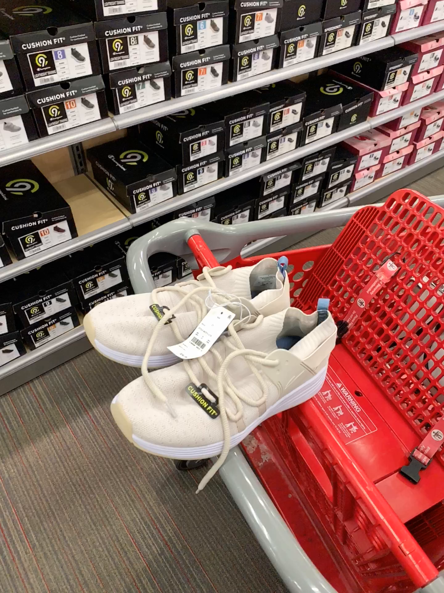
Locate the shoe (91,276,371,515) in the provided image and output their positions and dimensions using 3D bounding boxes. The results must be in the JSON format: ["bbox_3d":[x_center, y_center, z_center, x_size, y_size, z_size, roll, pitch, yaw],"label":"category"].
[{"bbox_3d":[0.016,0.087,0.493,0.280,0.110,0.110,-19,50,-36],"label":"shoe"}]

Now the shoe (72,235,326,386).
[{"bbox_3d":[-0.027,0.005,0.571,0.280,0.110,0.110,-7,46,-32],"label":"shoe"}]
